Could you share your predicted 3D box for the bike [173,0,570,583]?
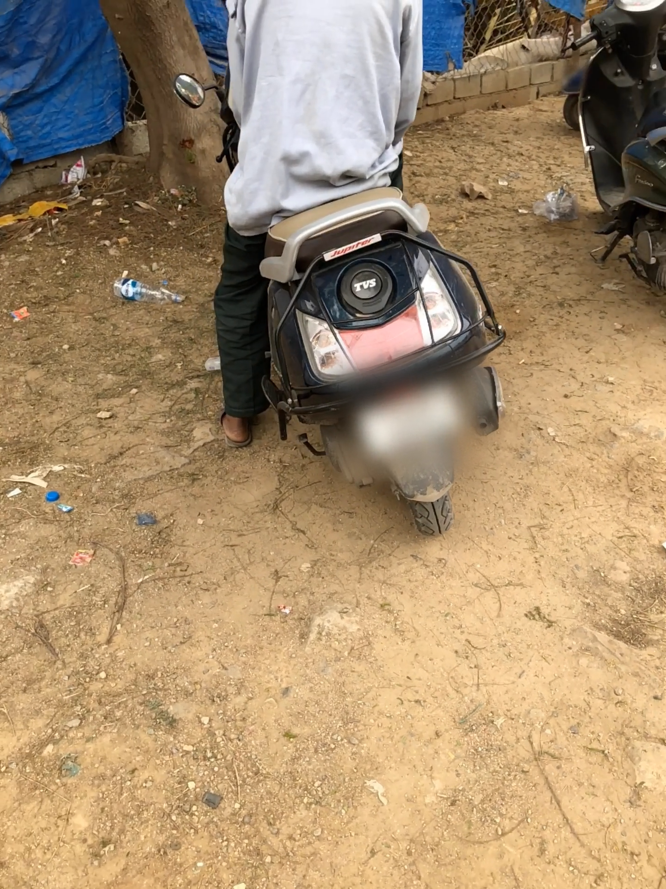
[{"bbox_3d":[-0.021,-0.659,1.922,0.634,1.119,1.350,-6,39,-6],"label":"bike"}]
